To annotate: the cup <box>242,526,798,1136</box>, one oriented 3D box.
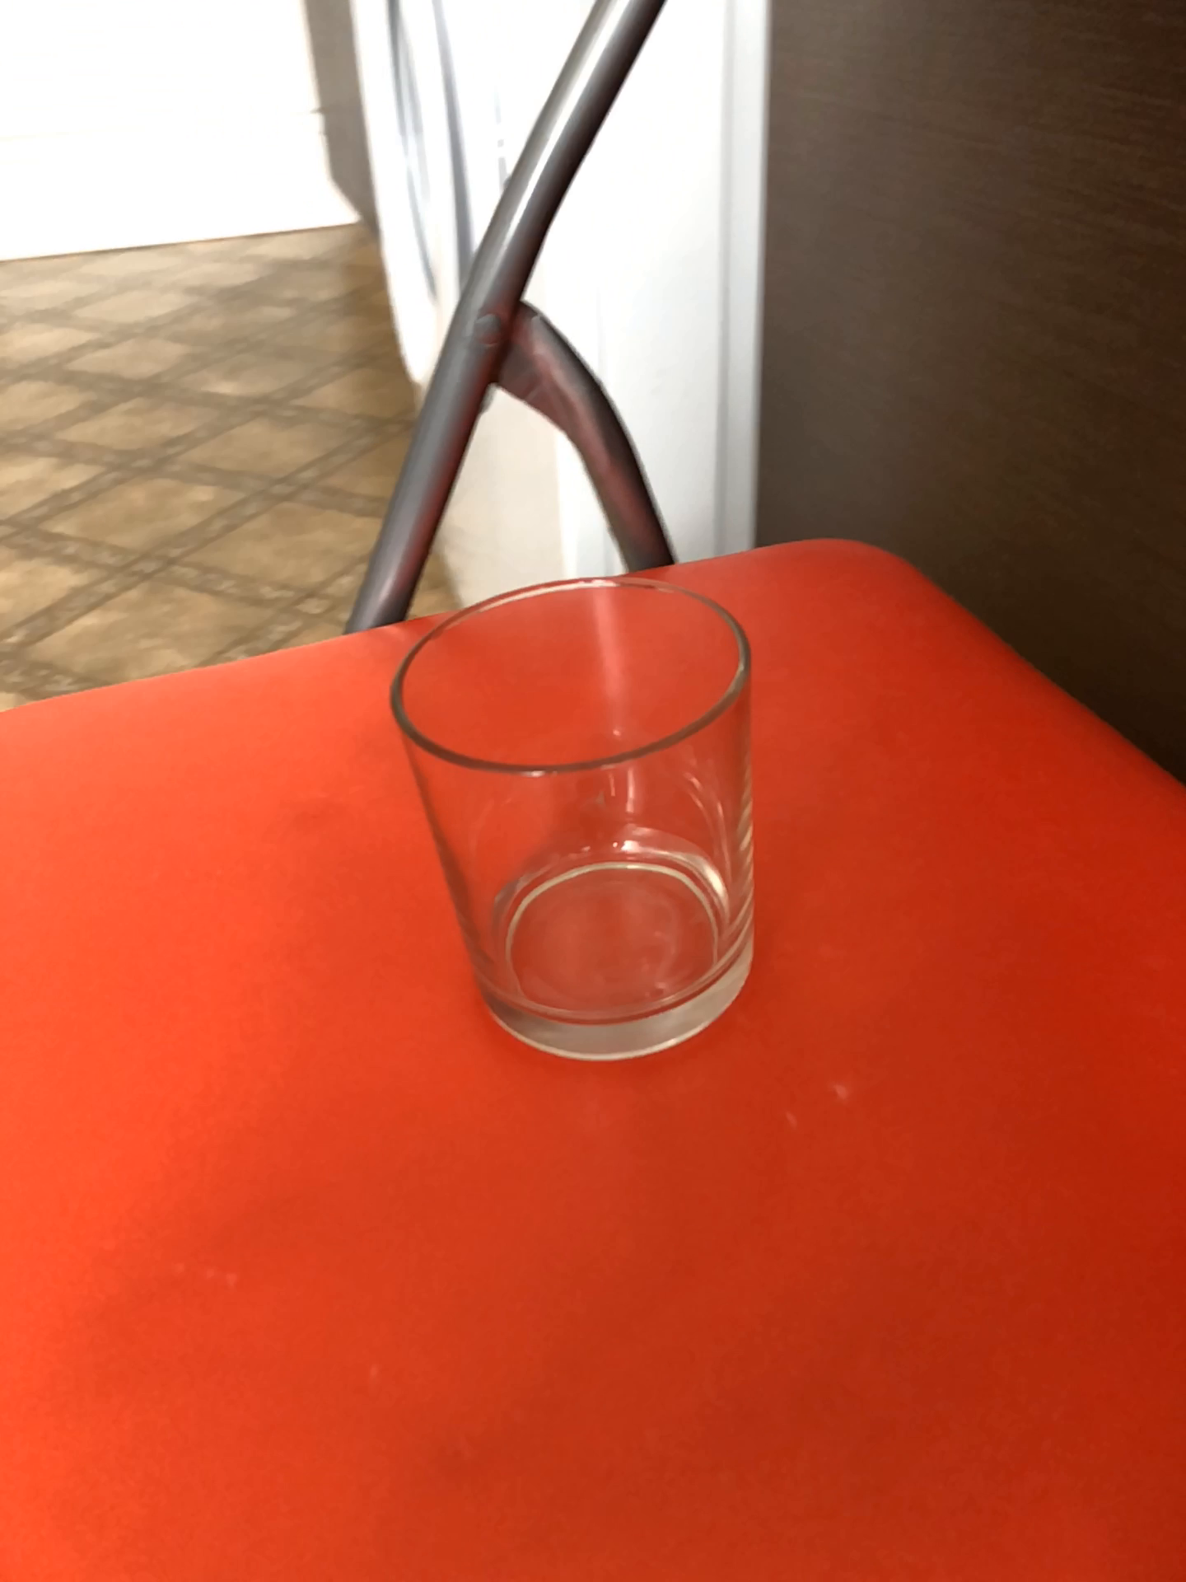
[{"bbox_3d":[-0.009,0.004,0.279,0.078,0.082,0.080,-4,36,3],"label":"cup"}]
